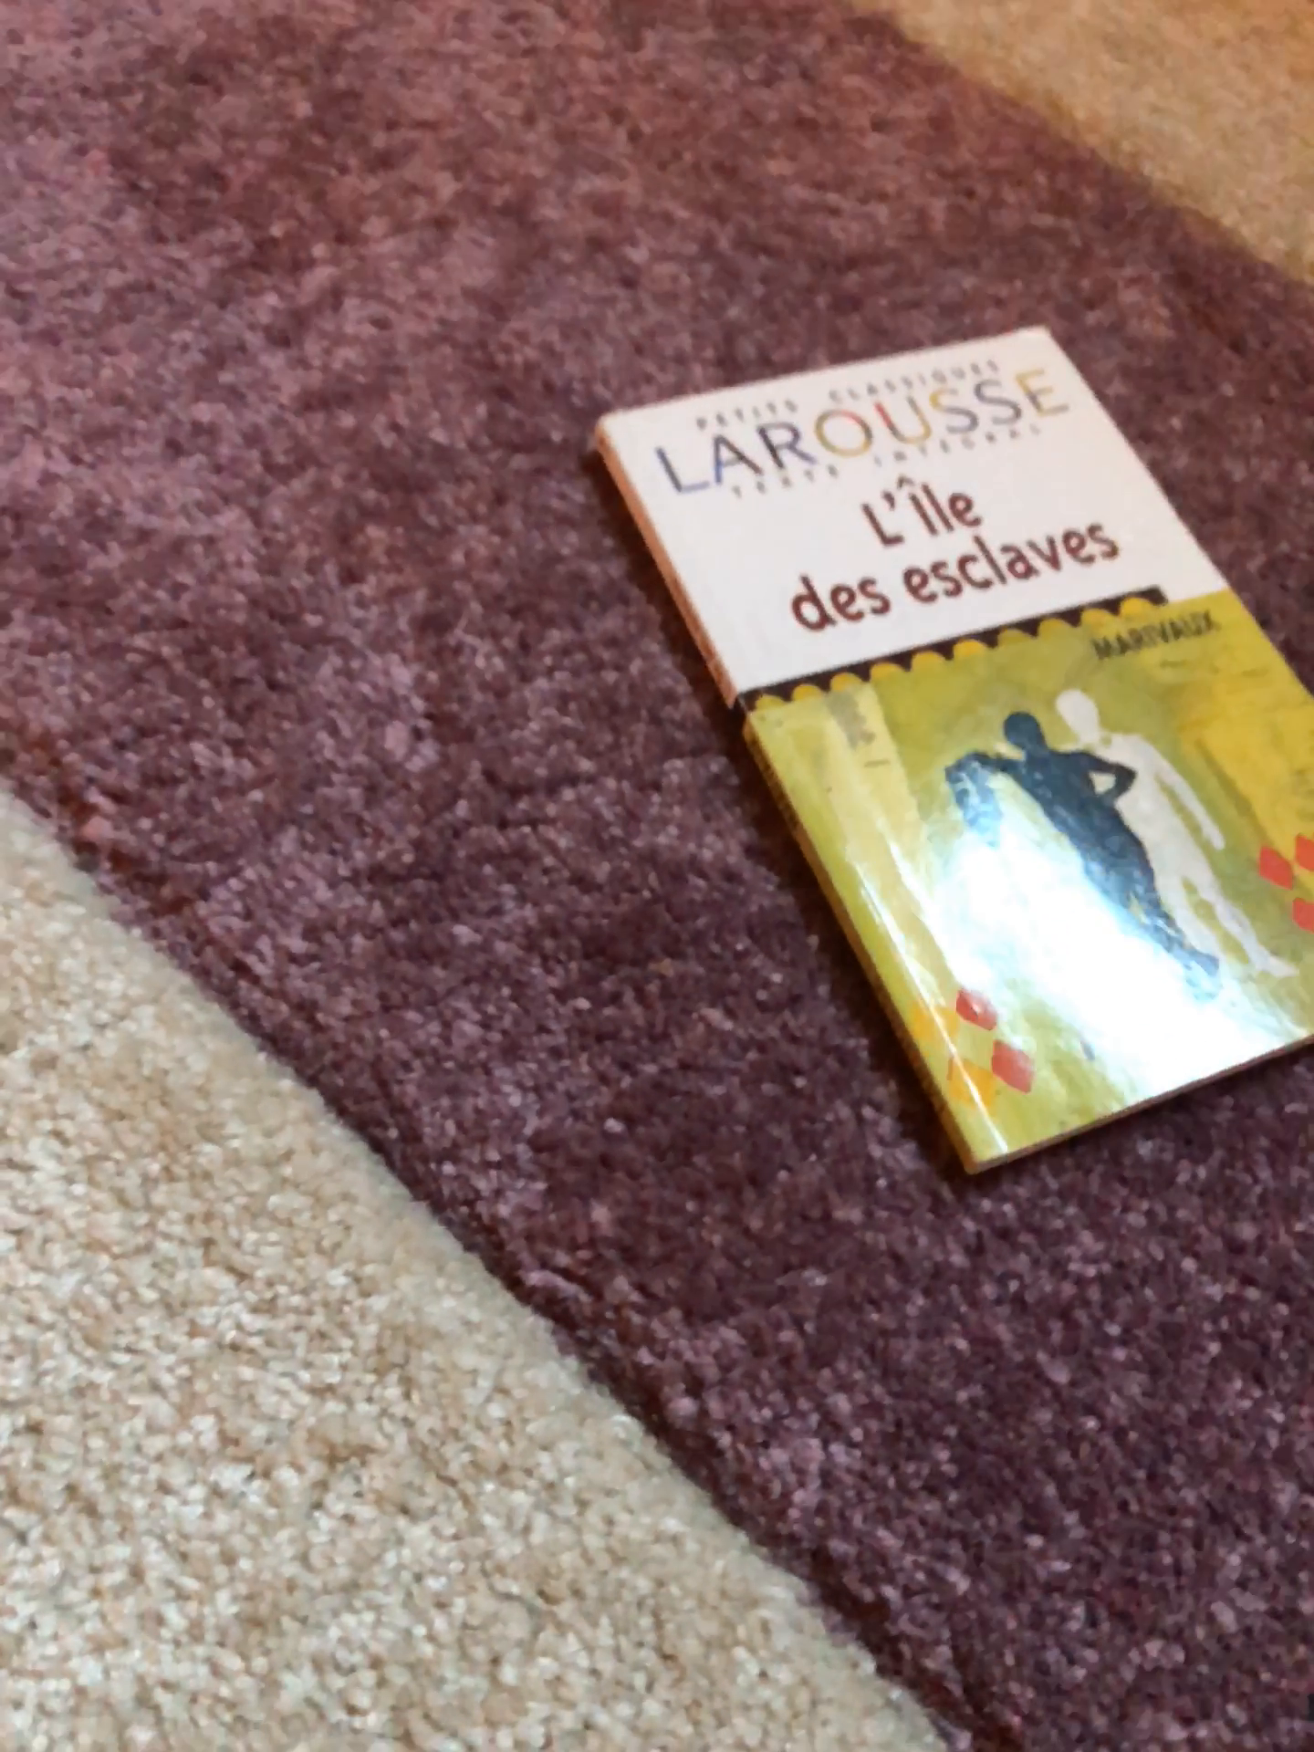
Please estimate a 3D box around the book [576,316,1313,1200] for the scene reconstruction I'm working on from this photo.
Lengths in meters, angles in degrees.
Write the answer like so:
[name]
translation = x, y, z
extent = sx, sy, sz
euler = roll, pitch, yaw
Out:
[book]
translation = 0.066, -0.036, 0.280
extent = 0.110, 0.020, 0.166
euler = -16, 63, -17
